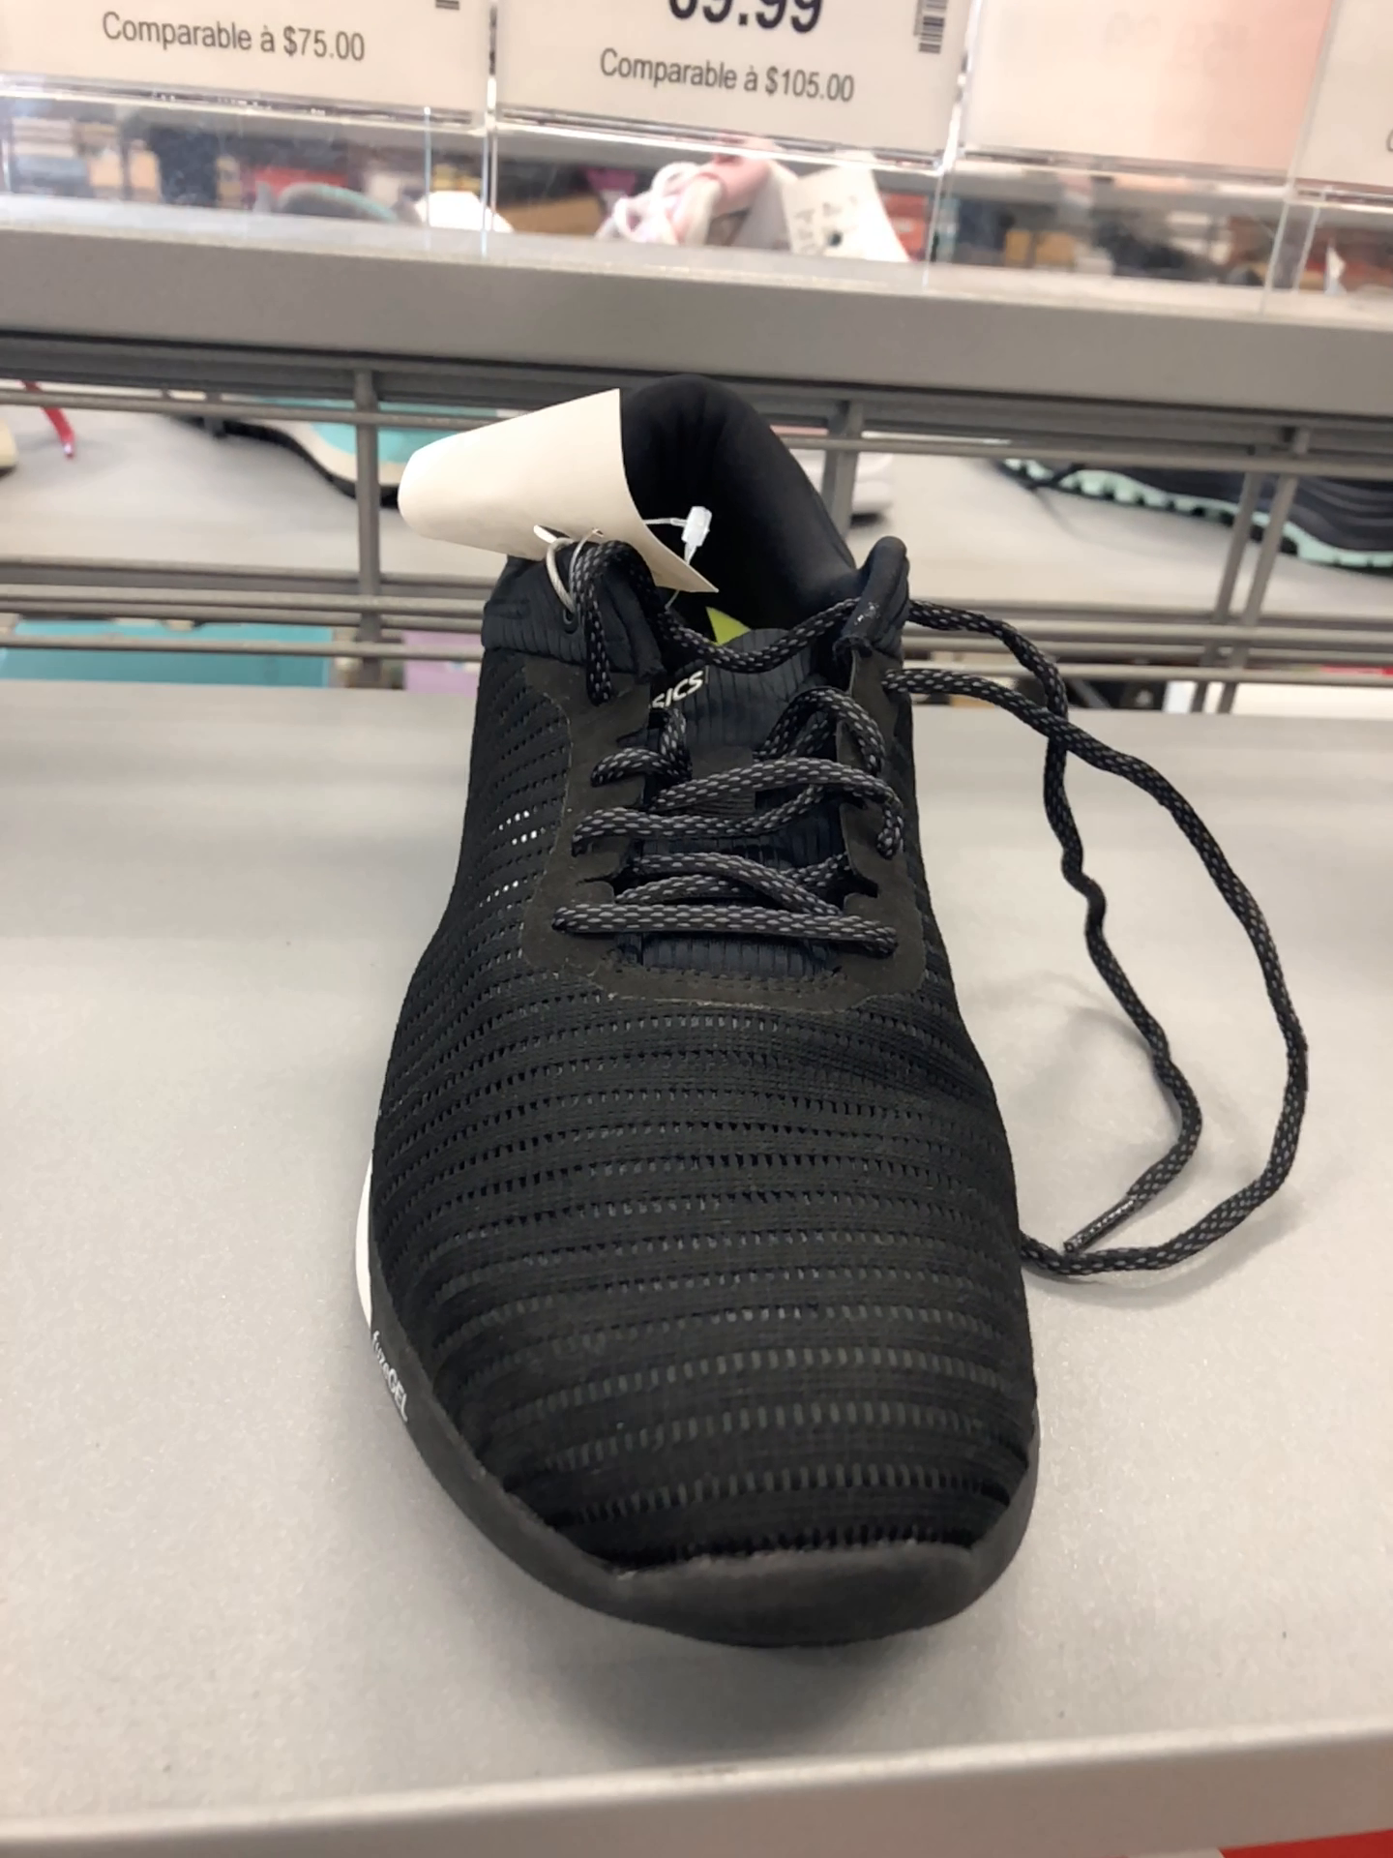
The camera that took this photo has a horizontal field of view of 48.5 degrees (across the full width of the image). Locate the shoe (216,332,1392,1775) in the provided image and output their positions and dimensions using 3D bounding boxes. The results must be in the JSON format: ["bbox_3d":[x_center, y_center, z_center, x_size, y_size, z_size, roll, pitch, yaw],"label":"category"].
[{"bbox_3d":[-0.009,-0.022,0.303,0.120,0.119,0.302,0,31,-9],"label":"shoe"}]
